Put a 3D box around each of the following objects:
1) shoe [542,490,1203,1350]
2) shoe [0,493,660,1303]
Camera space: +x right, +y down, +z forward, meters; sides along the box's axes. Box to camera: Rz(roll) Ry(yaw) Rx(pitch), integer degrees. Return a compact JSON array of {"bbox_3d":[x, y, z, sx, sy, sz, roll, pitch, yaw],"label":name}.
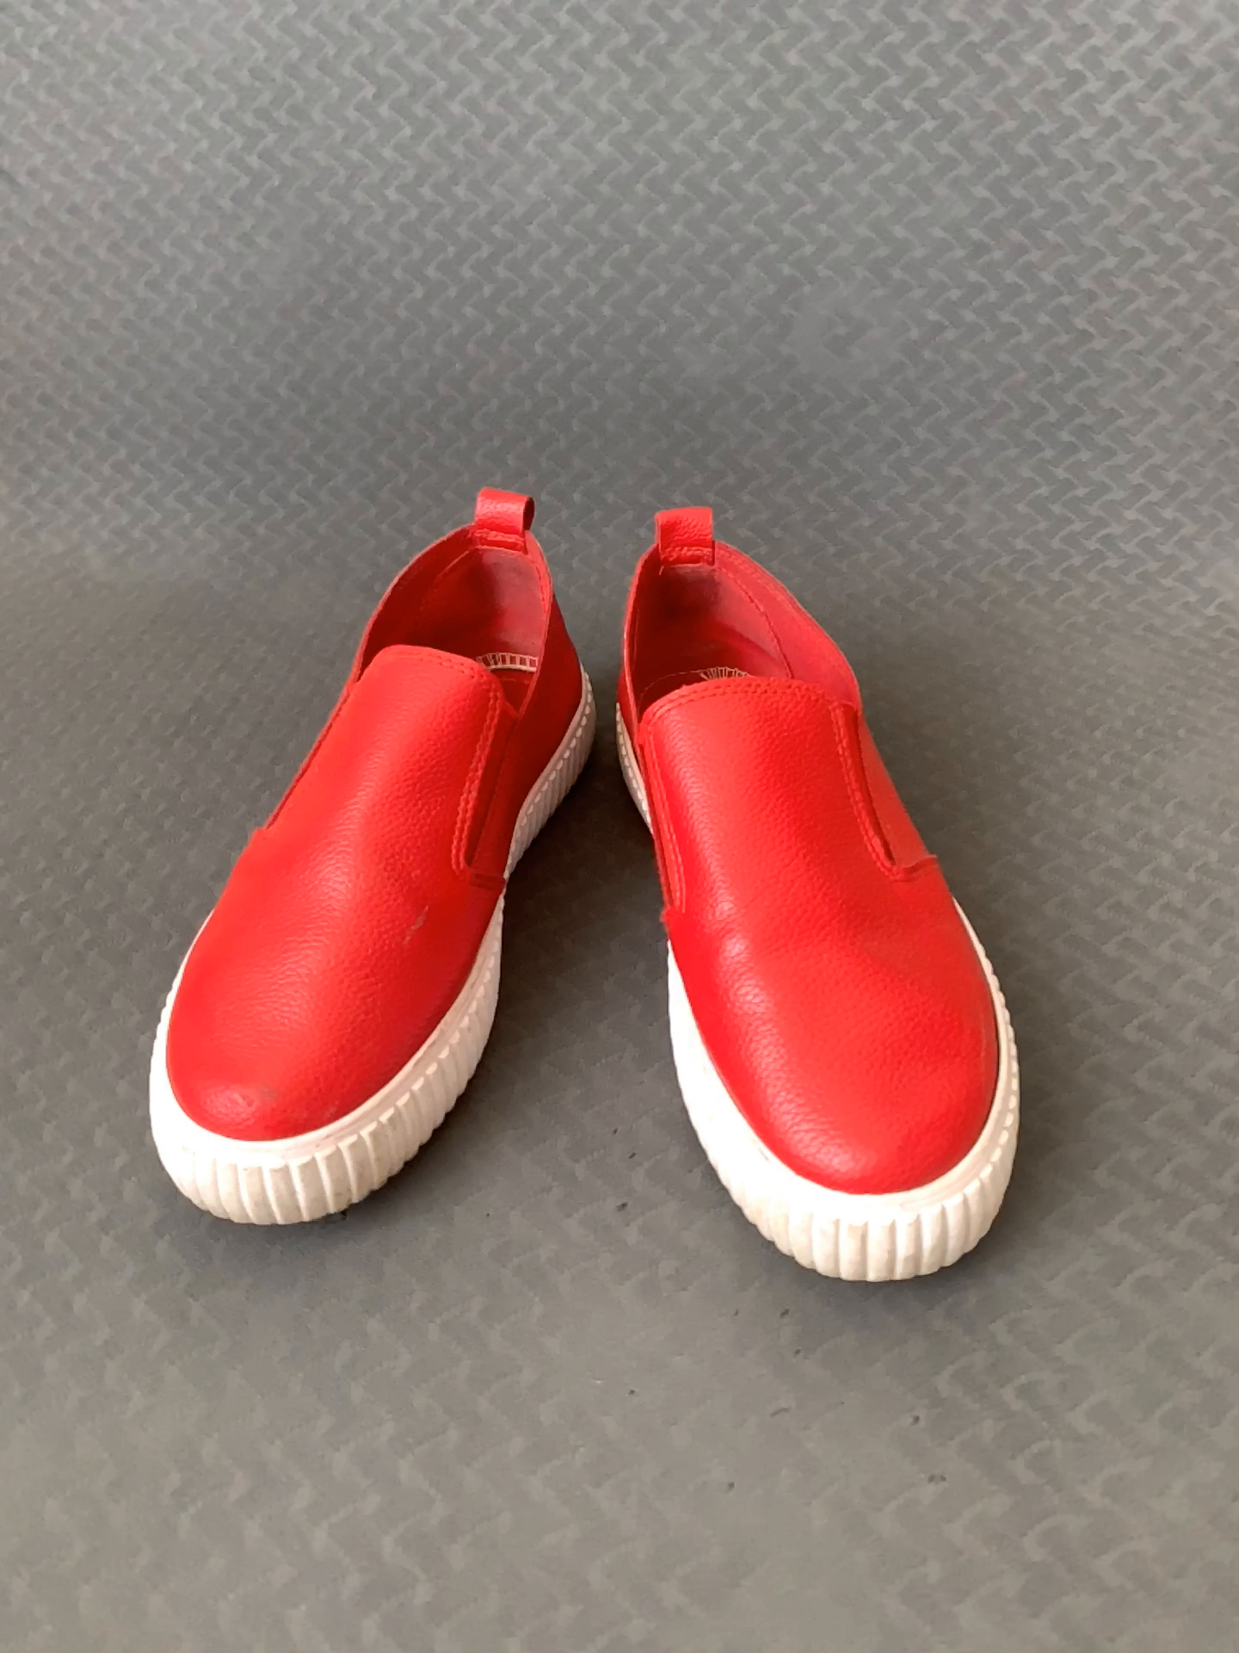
[{"bbox_3d":[0.045,0.003,0.351,0.095,0.070,0.241,-9,44,-6],"label":"shoe"},{"bbox_3d":[-0.066,-0.002,0.370,0.095,0.070,0.241,10,45,13],"label":"shoe"}]
